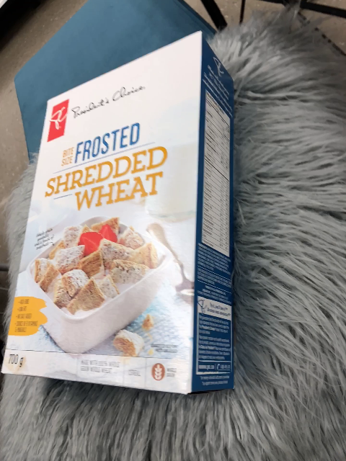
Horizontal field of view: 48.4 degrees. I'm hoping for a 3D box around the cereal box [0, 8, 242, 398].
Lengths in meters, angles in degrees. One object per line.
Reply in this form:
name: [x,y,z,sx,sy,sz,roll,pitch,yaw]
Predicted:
cereal box: [-0.044,-0.024,0.355,0.201,0.070,0.310,-8,67,28]
